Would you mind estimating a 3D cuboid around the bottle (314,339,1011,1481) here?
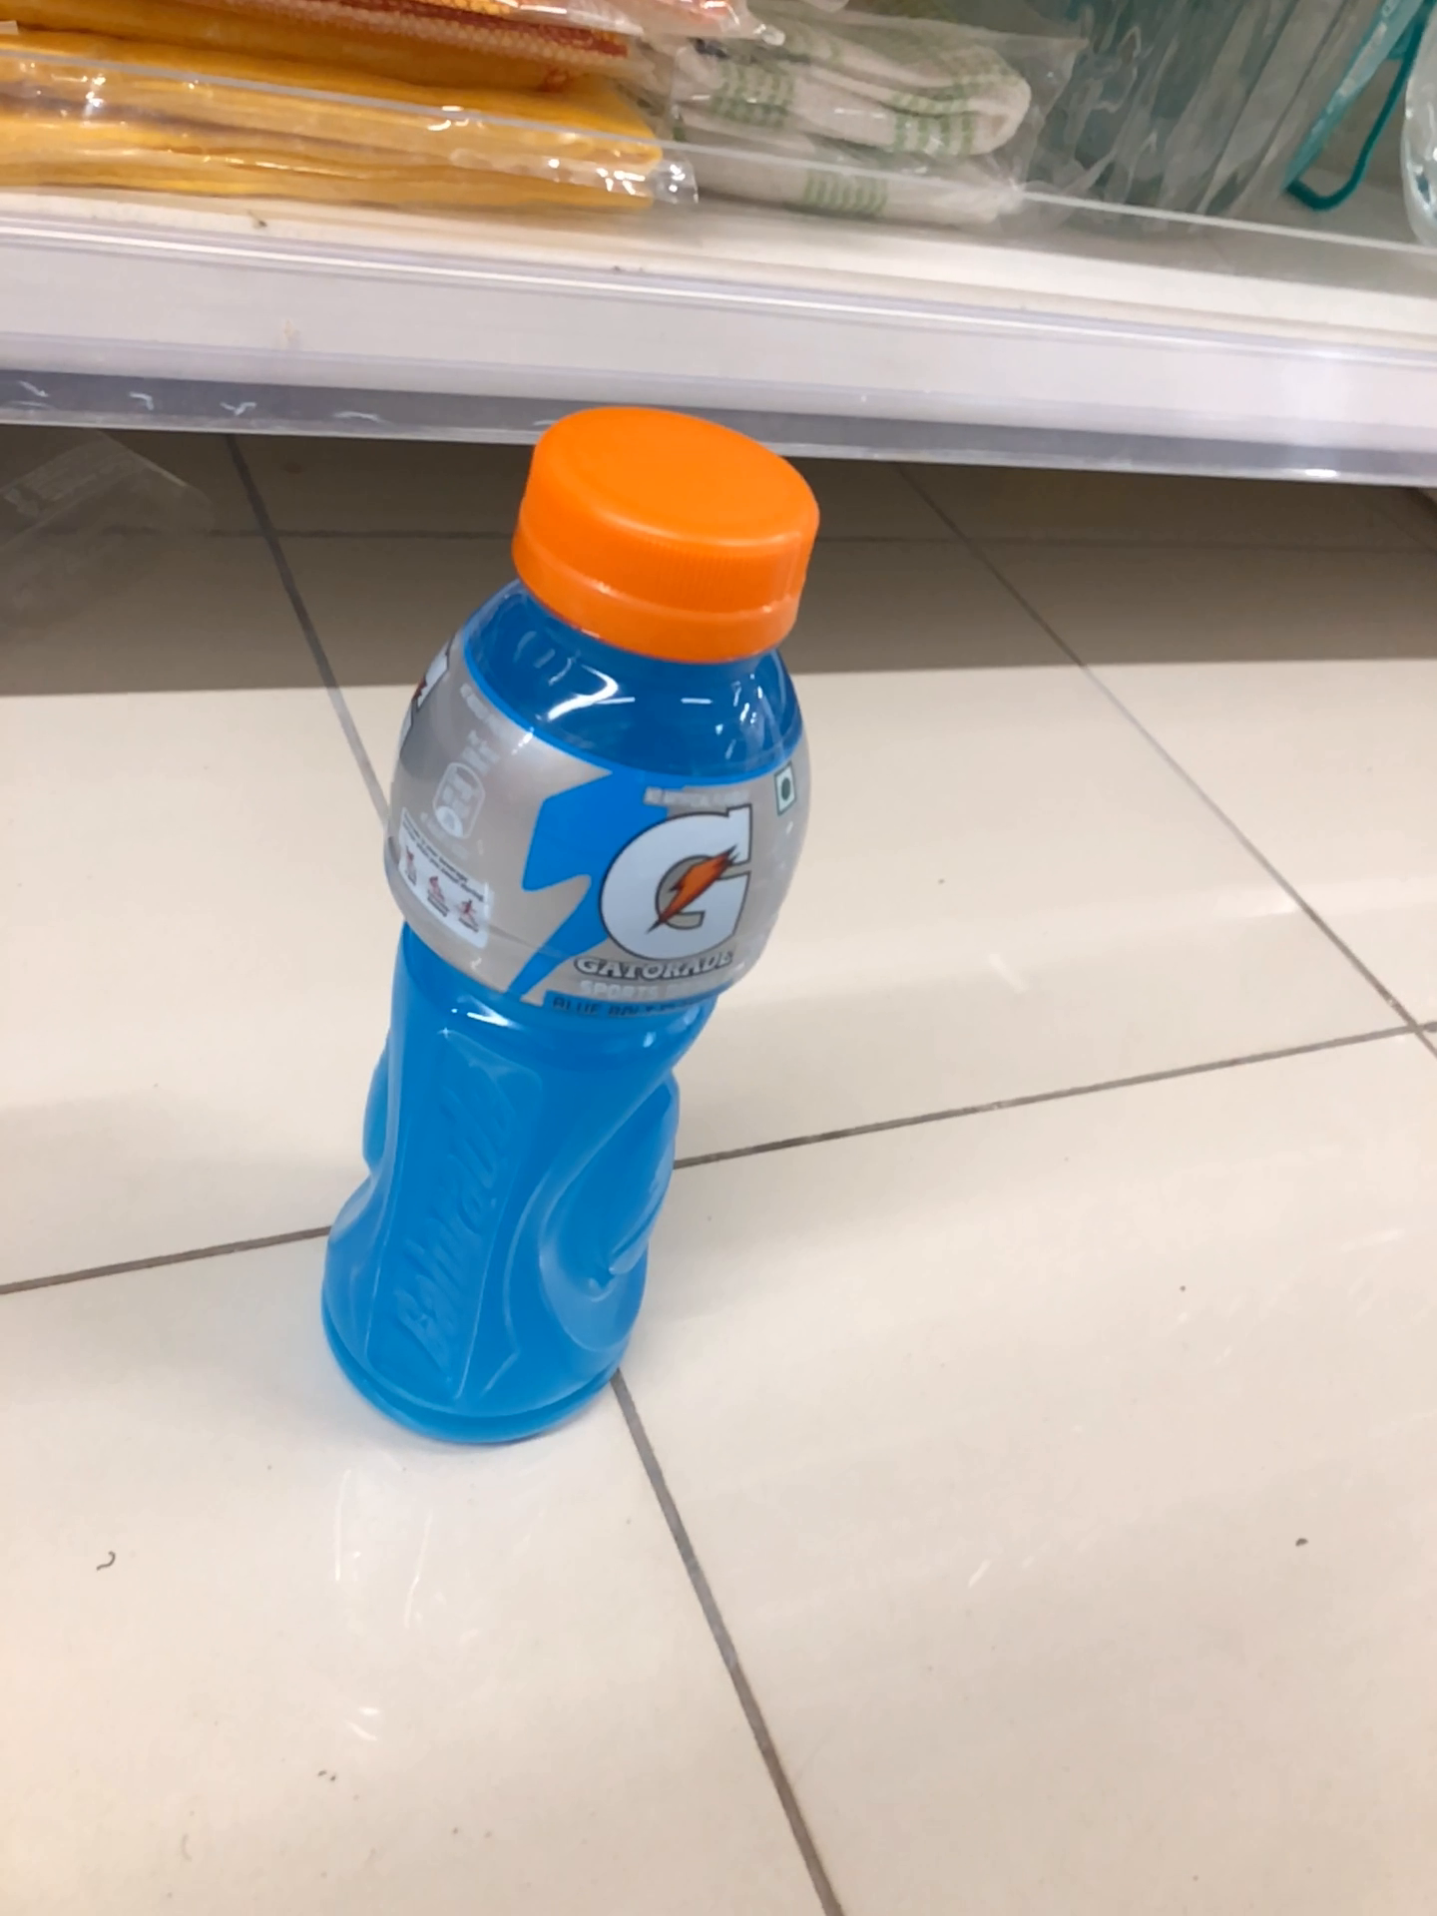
[{"bbox_3d":[-0.026,0.006,0.272,0.070,0.189,0.070,10,41,-9],"label":"bottle"}]
